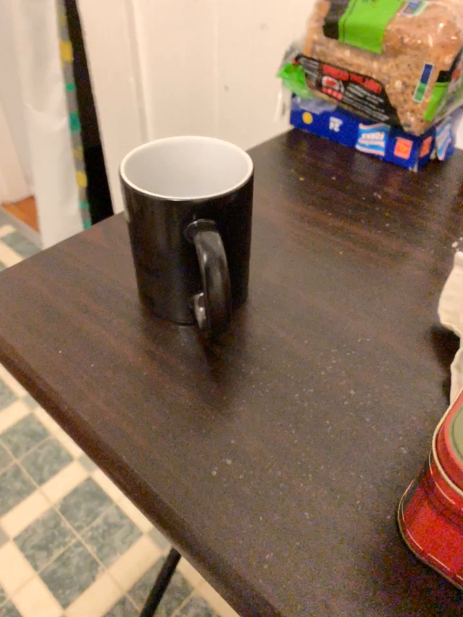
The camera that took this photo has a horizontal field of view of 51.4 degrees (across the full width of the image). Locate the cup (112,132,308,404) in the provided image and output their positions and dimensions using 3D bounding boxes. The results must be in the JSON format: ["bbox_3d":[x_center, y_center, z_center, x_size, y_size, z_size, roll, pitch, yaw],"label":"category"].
[{"bbox_3d":[-0.020,-0.031,0.301,0.080,0.100,0.131,-11,45,-12],"label":"cup"}]
